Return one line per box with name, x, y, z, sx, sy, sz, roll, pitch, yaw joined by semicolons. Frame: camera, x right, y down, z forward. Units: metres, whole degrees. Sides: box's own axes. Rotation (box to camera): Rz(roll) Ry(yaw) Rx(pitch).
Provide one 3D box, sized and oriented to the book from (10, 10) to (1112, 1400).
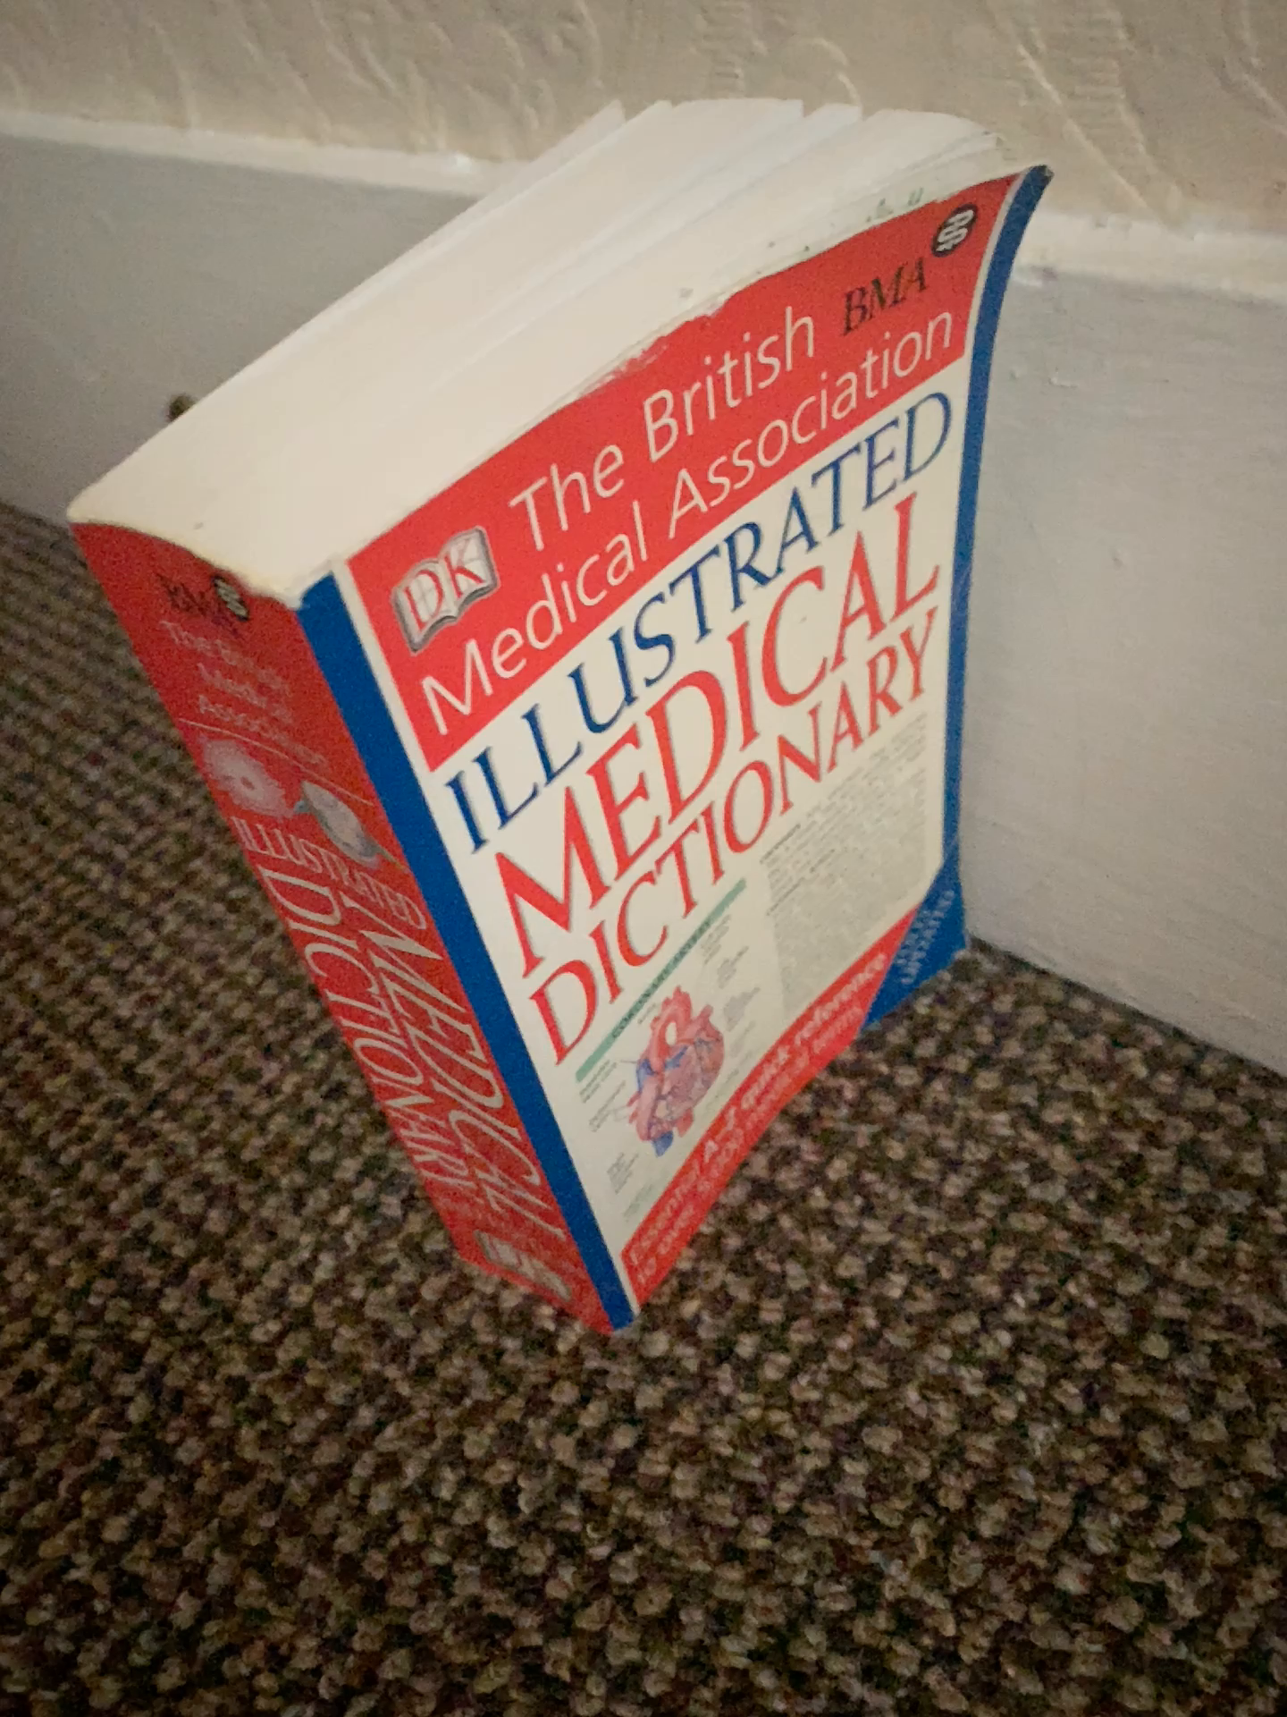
book;0.015;-0.029;0.270;0.060;0.198;0.191;24;54;31
